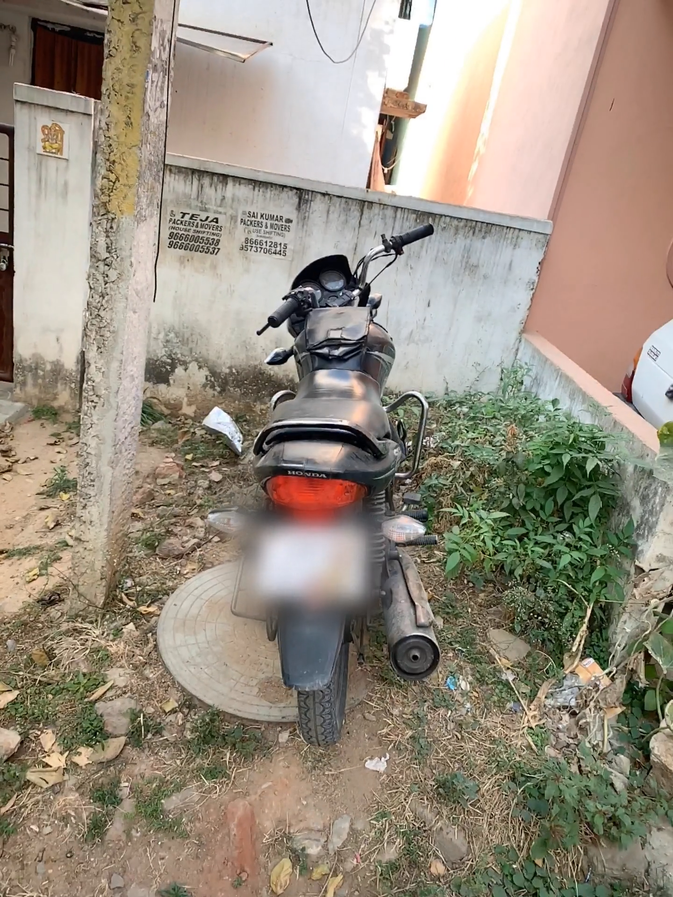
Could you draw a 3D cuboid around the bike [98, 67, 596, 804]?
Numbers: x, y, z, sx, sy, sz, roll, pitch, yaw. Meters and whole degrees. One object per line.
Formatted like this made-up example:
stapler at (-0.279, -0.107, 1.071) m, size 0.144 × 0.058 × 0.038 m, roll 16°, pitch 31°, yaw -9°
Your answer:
bike at (-0.015, -0.165, 1.771) m, size 0.734 × 1.102 × 1.246 m, roll 10°, pitch 31°, yaw -5°
